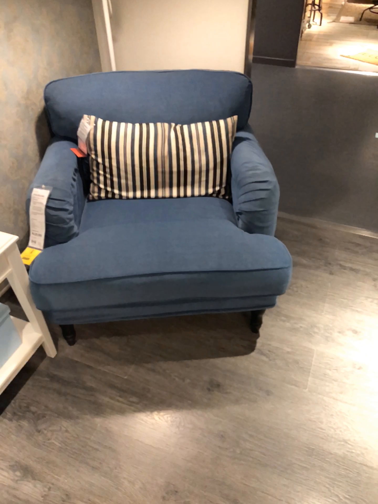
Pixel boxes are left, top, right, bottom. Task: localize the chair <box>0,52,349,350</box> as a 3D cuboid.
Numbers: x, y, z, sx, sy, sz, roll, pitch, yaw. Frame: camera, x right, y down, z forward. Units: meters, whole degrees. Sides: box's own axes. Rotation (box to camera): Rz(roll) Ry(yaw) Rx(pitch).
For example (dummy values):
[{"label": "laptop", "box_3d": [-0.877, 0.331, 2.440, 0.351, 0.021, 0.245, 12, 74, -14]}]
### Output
[{"label": "chair", "box_3d": [-0.085, -0.220, 1.512, 0.890, 0.695, 0.806, -4, 41, -3]}]
